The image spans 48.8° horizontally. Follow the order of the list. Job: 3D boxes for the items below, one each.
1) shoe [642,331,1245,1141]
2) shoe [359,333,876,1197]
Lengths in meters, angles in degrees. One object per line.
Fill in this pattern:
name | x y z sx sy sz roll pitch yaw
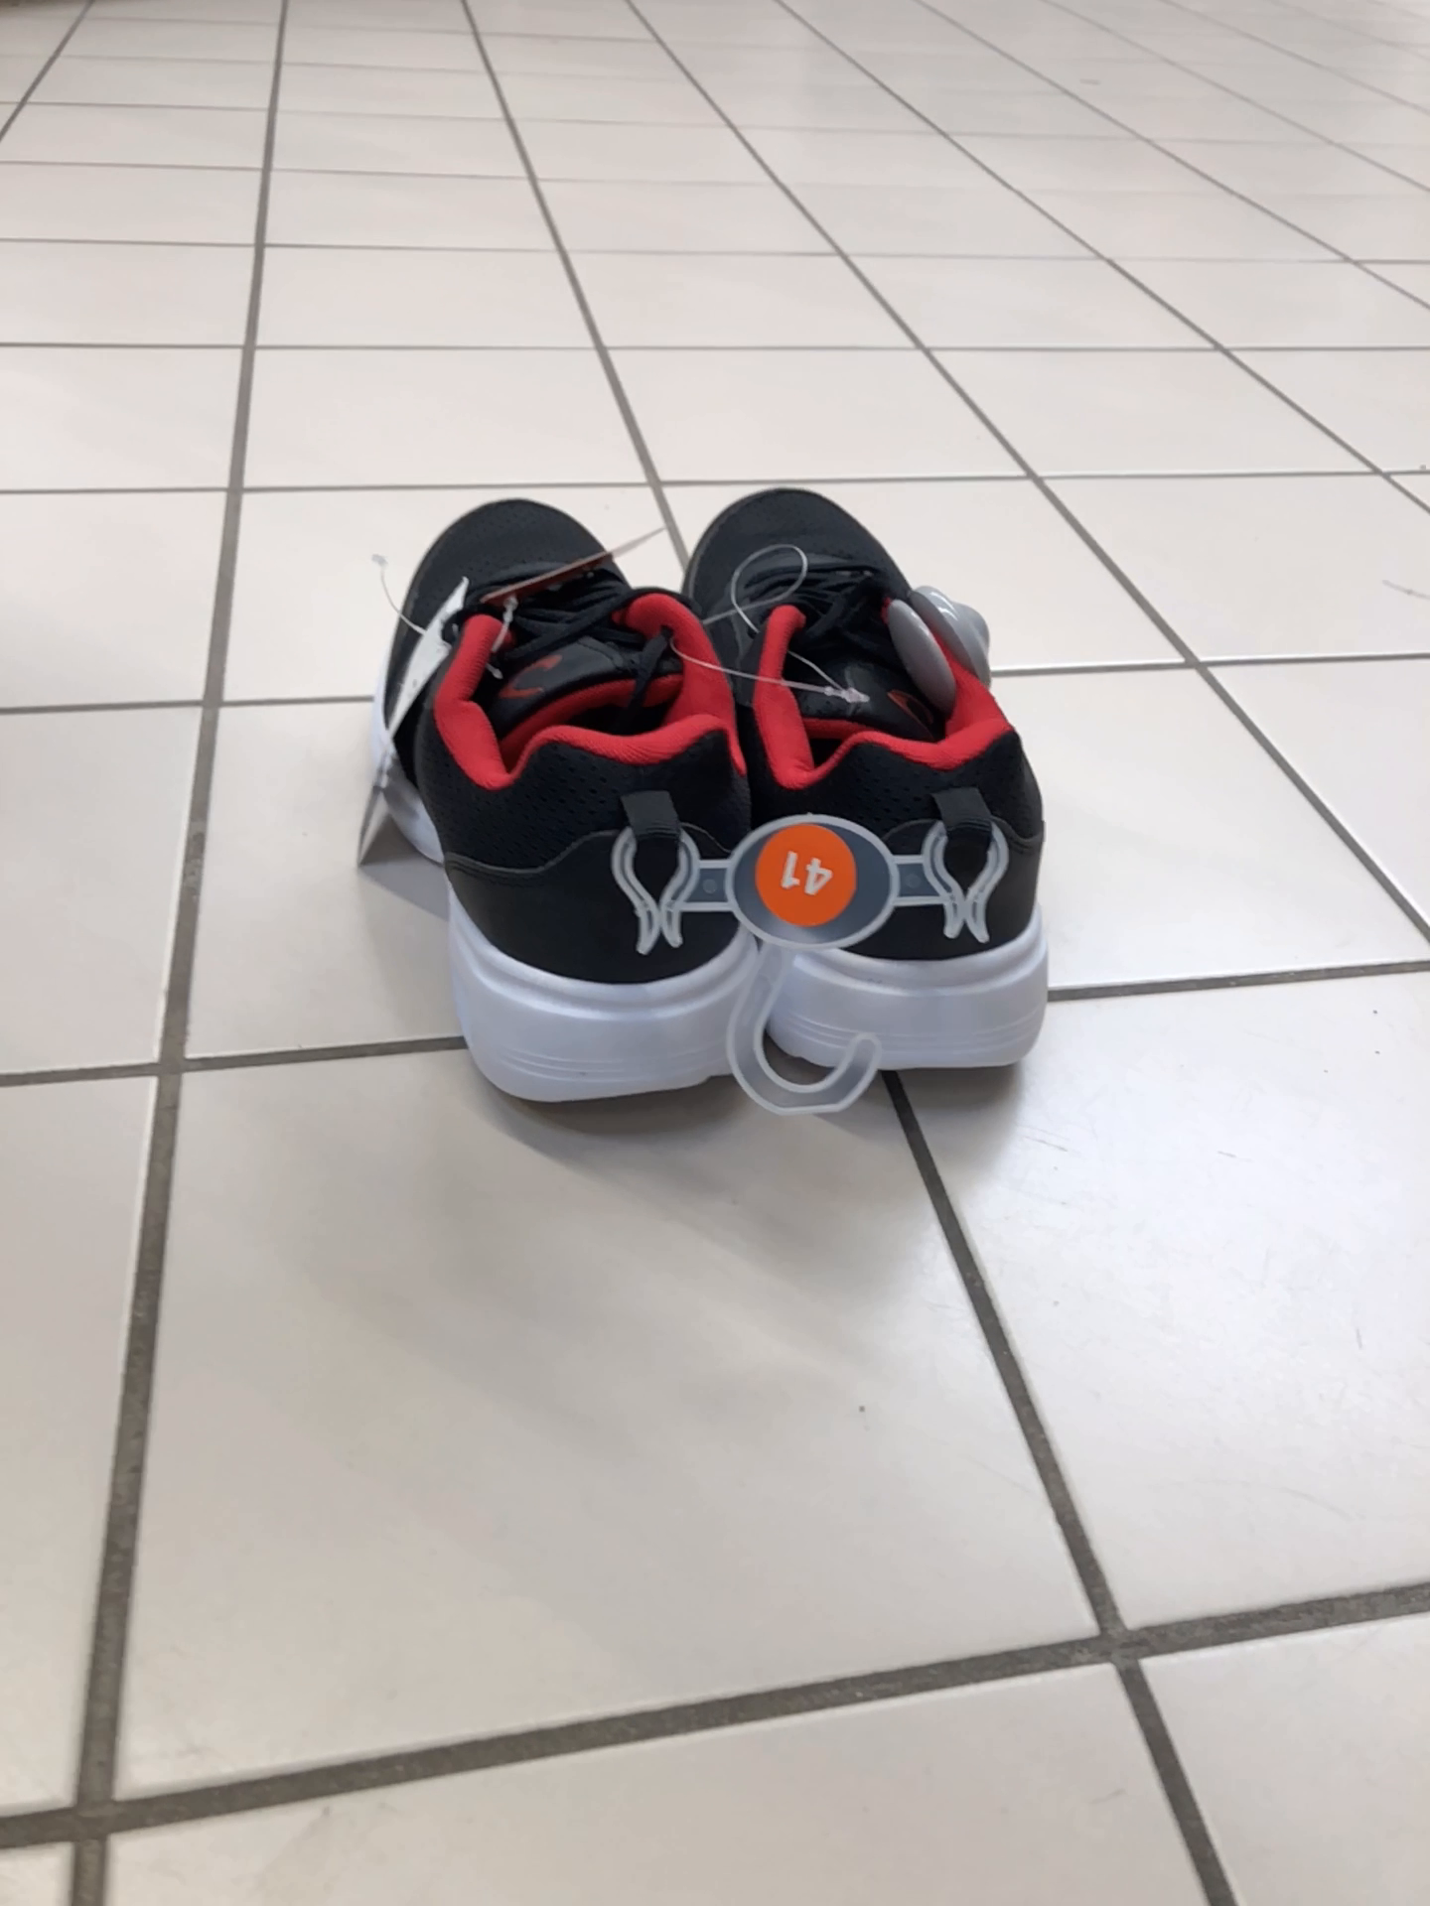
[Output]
shoe | 0.047 -0.090 0.513 0.100 0.129 0.286 -3 39 -10
shoe | -0.049 -0.082 0.497 0.100 0.129 0.296 -5 39 -12
